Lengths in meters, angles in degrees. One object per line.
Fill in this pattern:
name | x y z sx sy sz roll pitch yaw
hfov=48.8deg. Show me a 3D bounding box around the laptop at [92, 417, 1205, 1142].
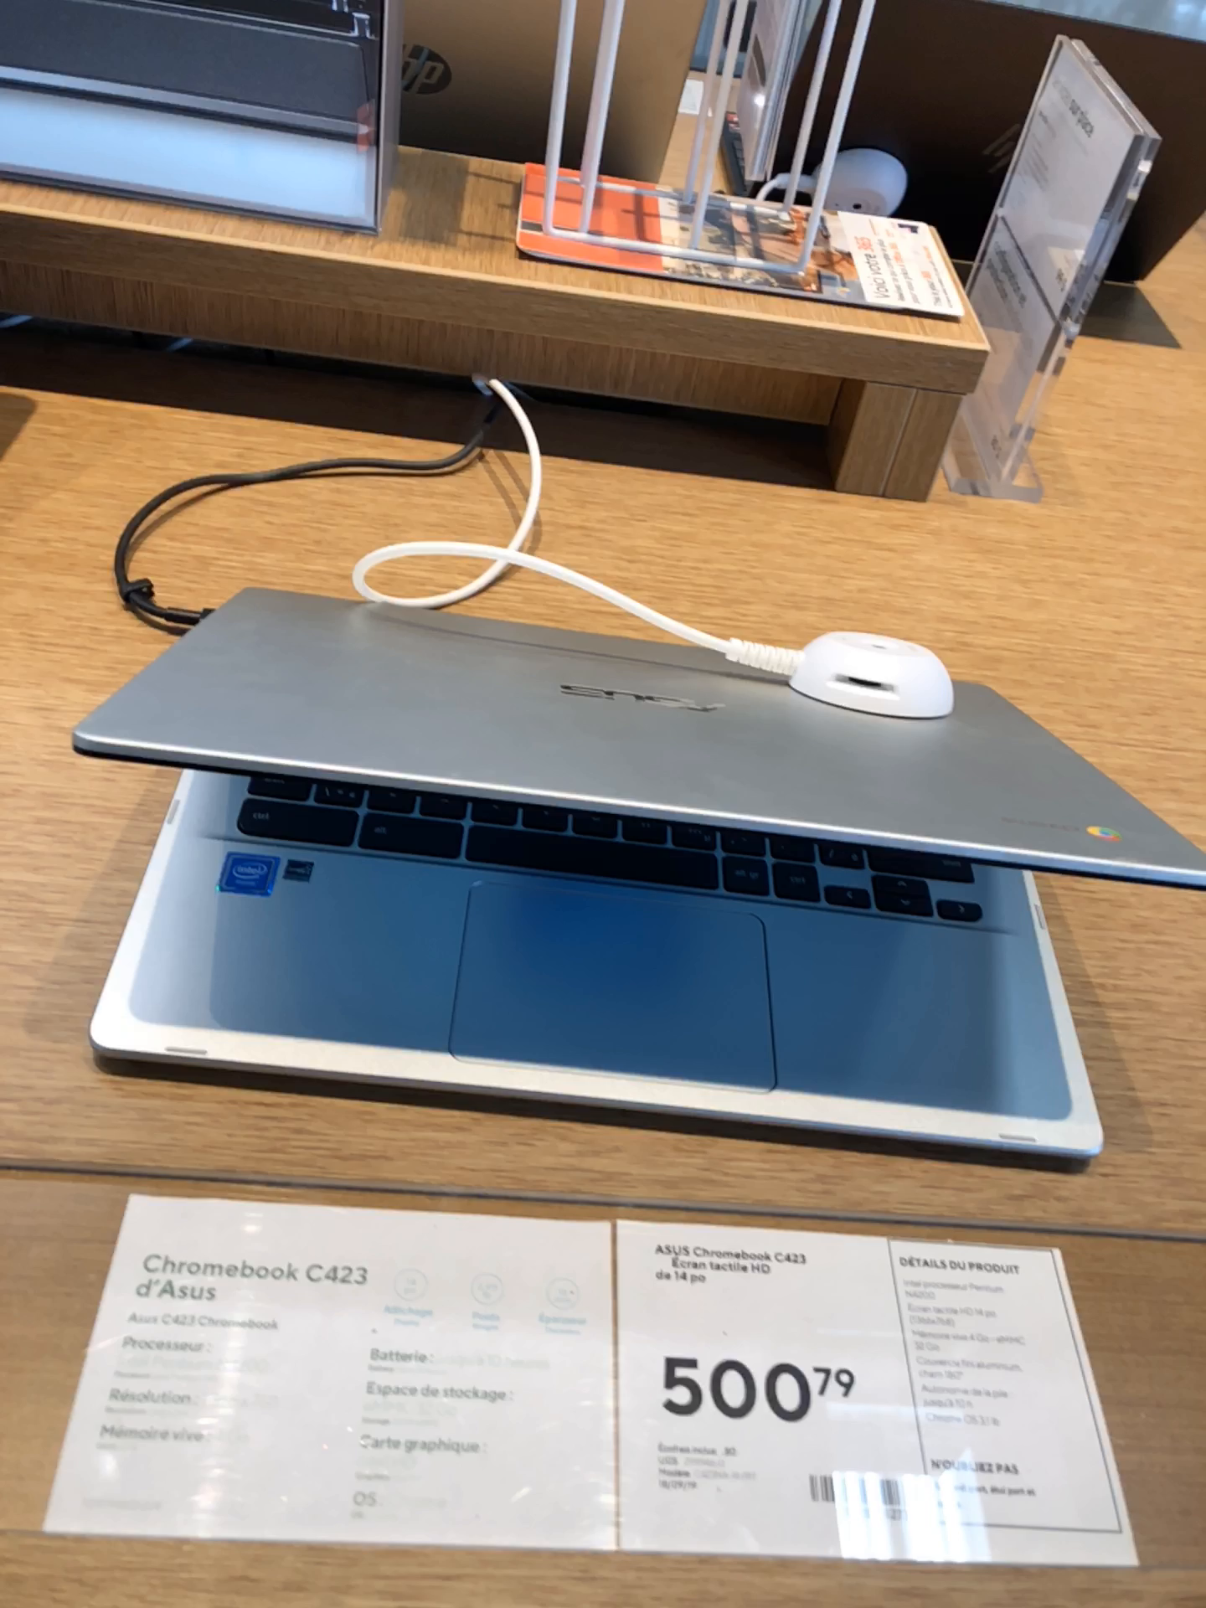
laptop | 0.018 -0.015 0.451 0.304 0.080 0.206 8 47 -7
